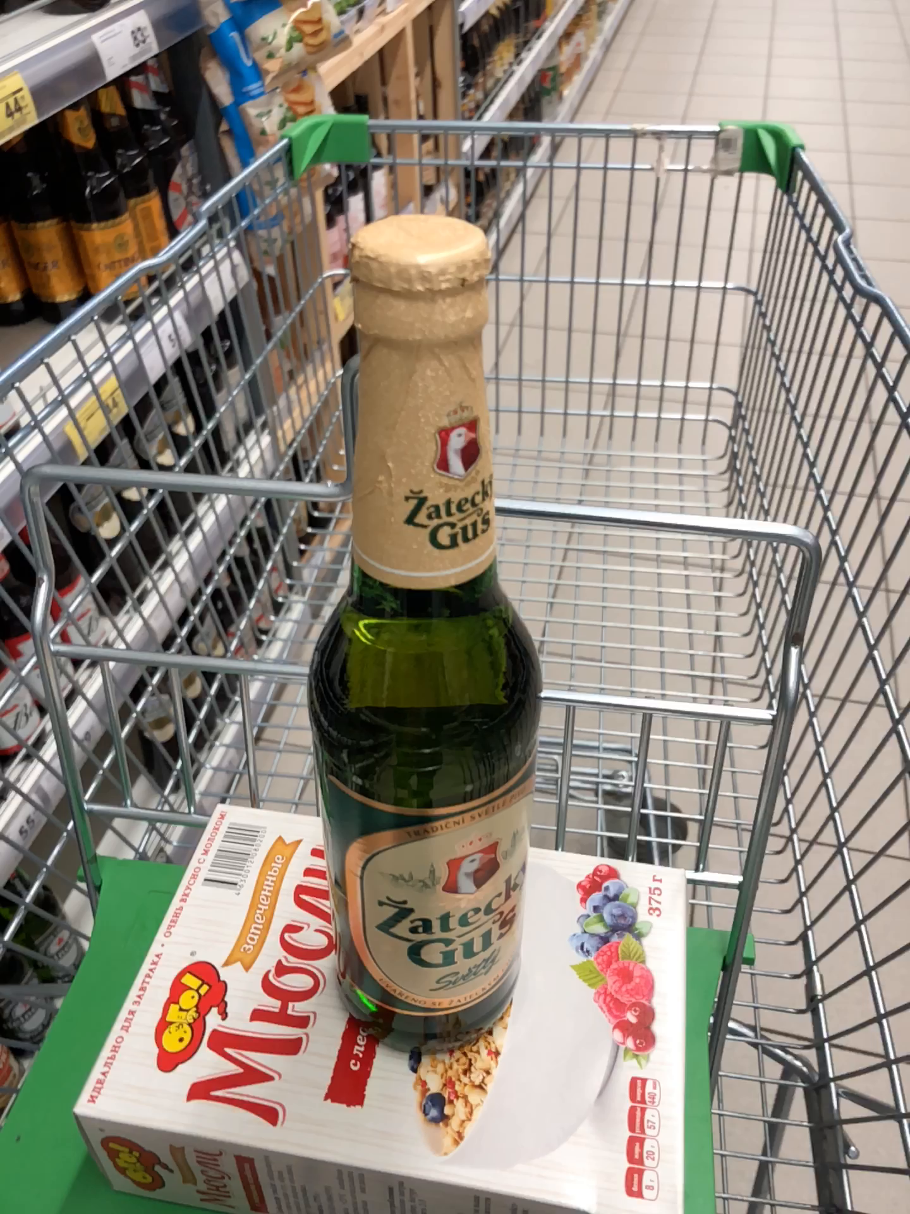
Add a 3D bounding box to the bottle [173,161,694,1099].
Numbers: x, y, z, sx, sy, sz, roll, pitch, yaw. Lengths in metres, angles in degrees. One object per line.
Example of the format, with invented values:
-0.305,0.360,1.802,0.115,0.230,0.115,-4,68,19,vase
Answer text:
-0.007,0.032,0.279,0.080,0.268,0.070,-14,44,-14,bottle
